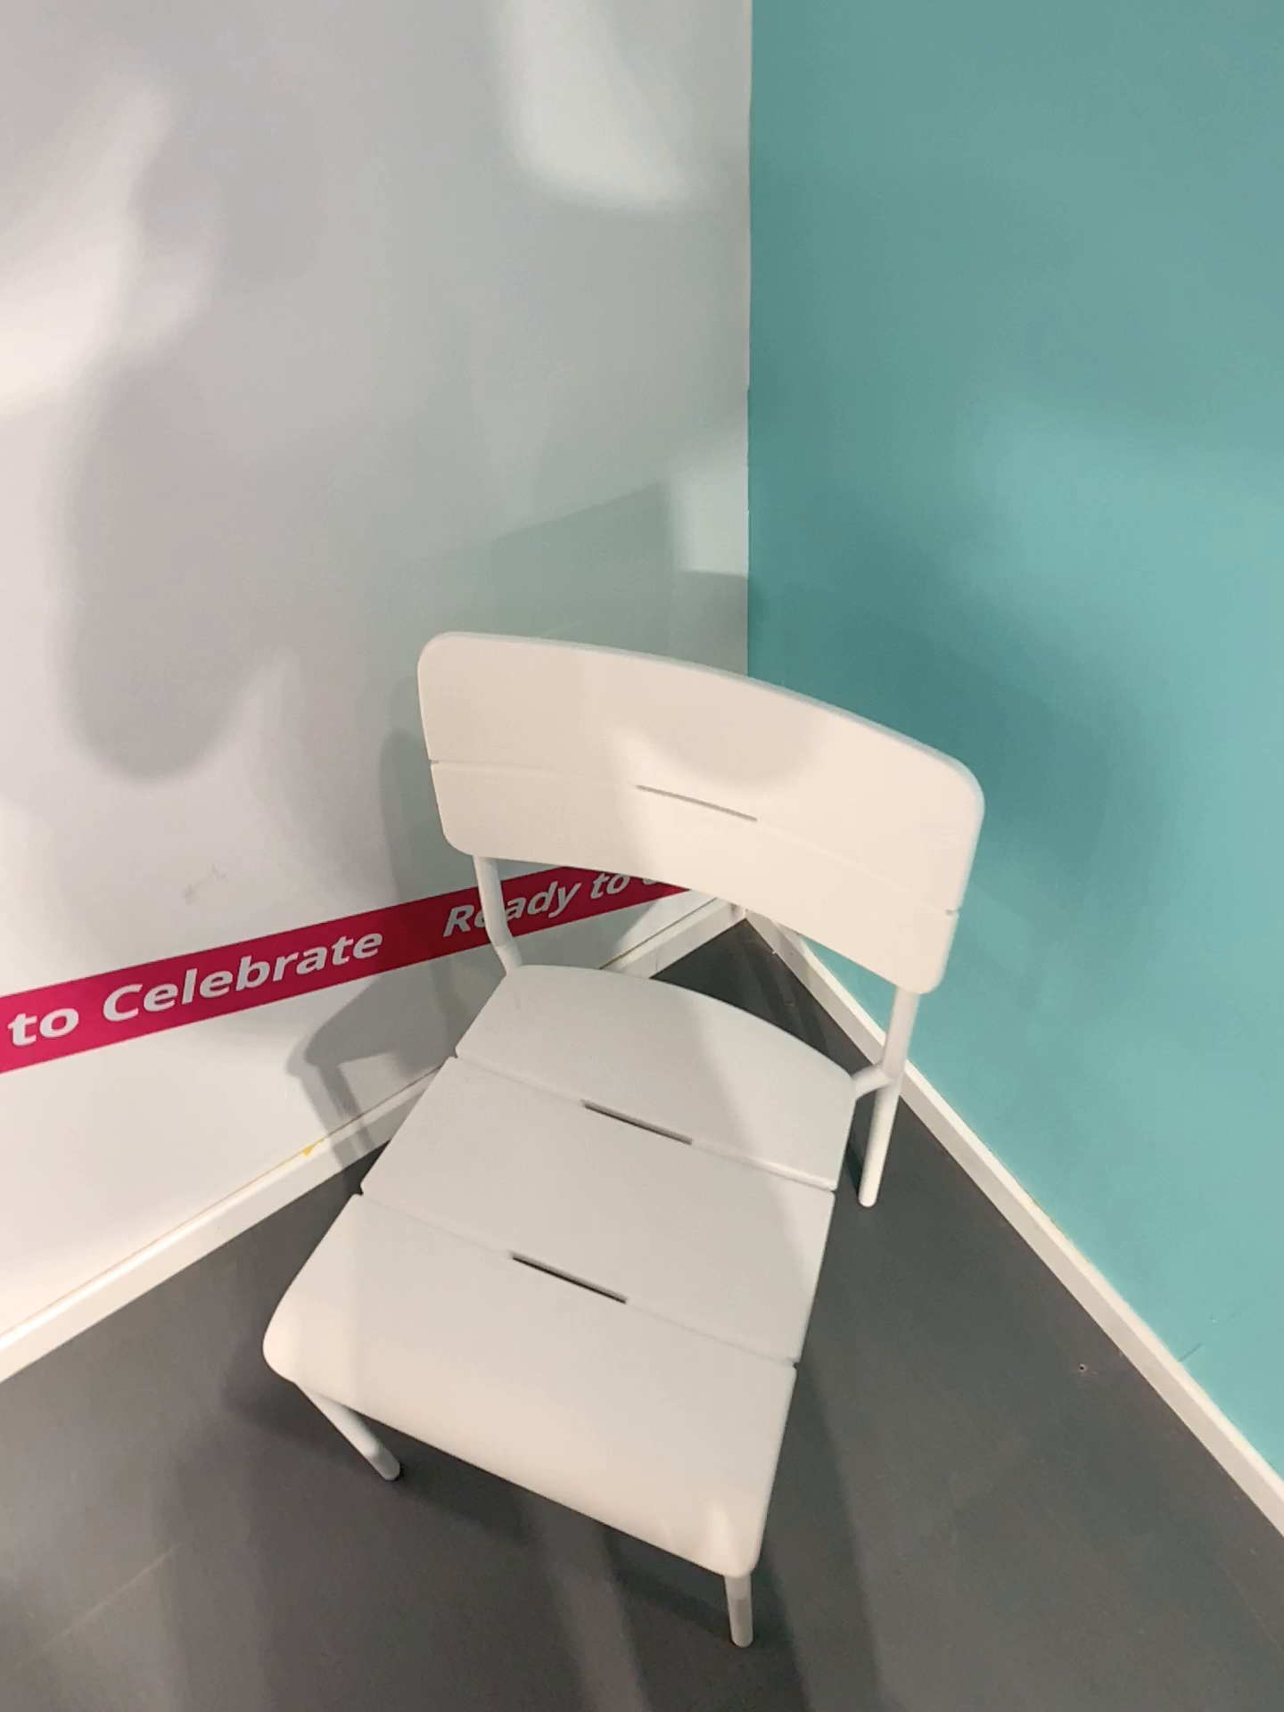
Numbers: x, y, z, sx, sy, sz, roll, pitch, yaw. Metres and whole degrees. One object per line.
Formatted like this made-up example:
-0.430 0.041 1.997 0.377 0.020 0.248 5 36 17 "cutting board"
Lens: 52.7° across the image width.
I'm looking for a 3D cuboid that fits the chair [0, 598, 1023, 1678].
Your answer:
-0.032 0.290 1.041 0.430 0.808 0.451 17 58 16 "chair"
